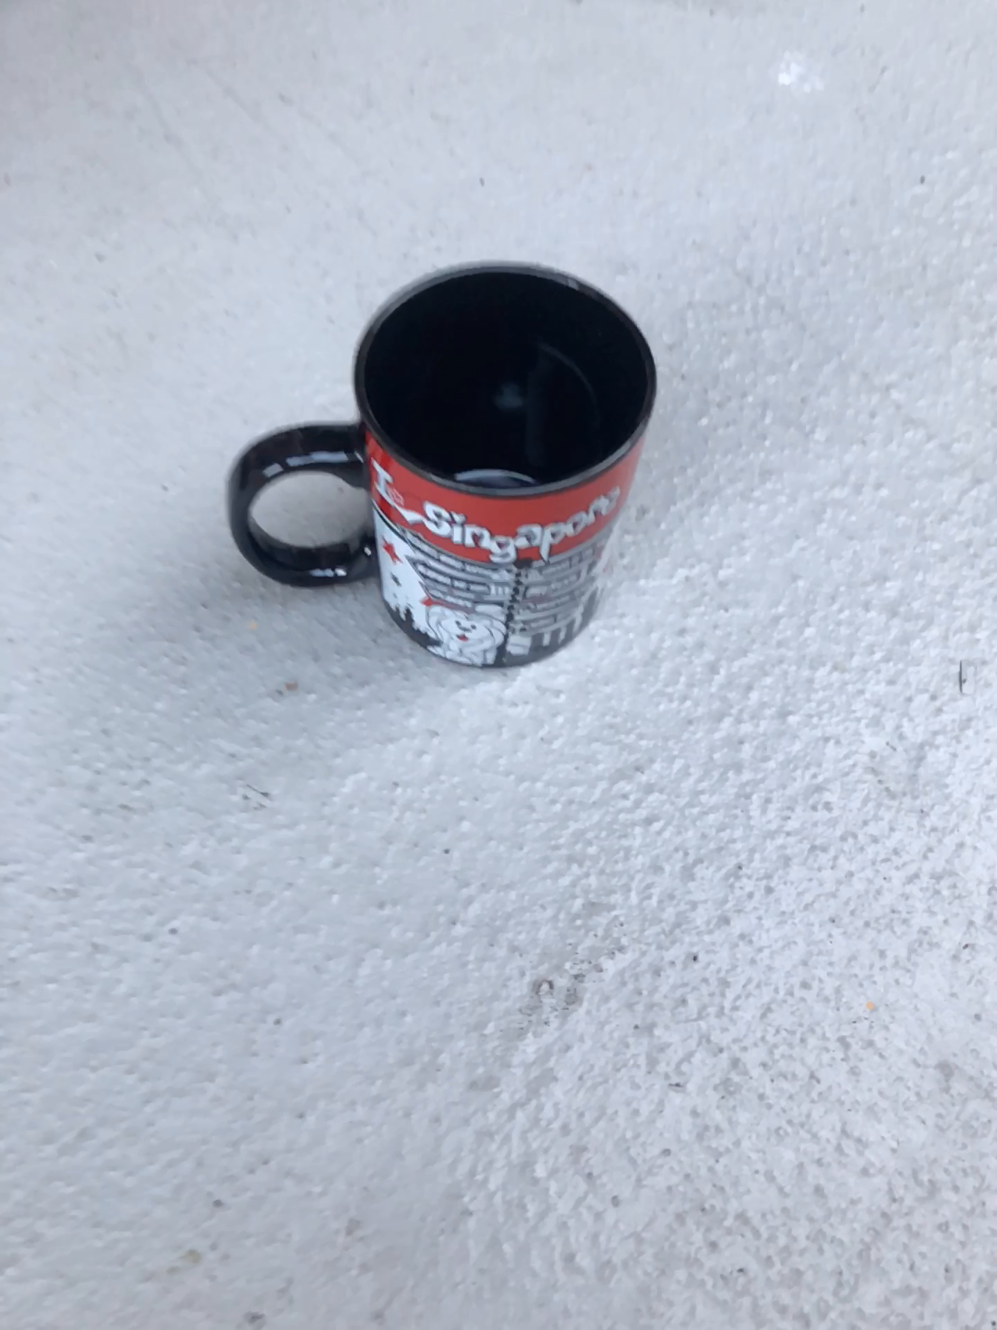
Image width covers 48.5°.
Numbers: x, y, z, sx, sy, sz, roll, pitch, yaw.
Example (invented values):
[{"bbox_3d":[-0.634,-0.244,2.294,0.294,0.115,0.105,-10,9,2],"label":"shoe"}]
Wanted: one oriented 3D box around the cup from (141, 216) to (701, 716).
[{"bbox_3d":[-0.025,-0.054,0.325,0.130,0.110,0.080,-8,62,-7],"label":"cup"}]
